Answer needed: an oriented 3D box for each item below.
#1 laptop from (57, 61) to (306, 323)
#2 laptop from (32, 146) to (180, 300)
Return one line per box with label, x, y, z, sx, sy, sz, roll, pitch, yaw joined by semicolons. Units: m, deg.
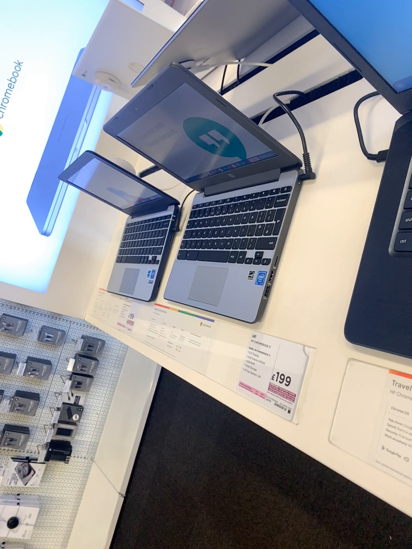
laptop;-0.054;-0.088;0.583;0.279;0.185;0.228;6;78;62
laptop;-0.222;-0.093;0.884;0.288;0.180;0.221;3;77;61
